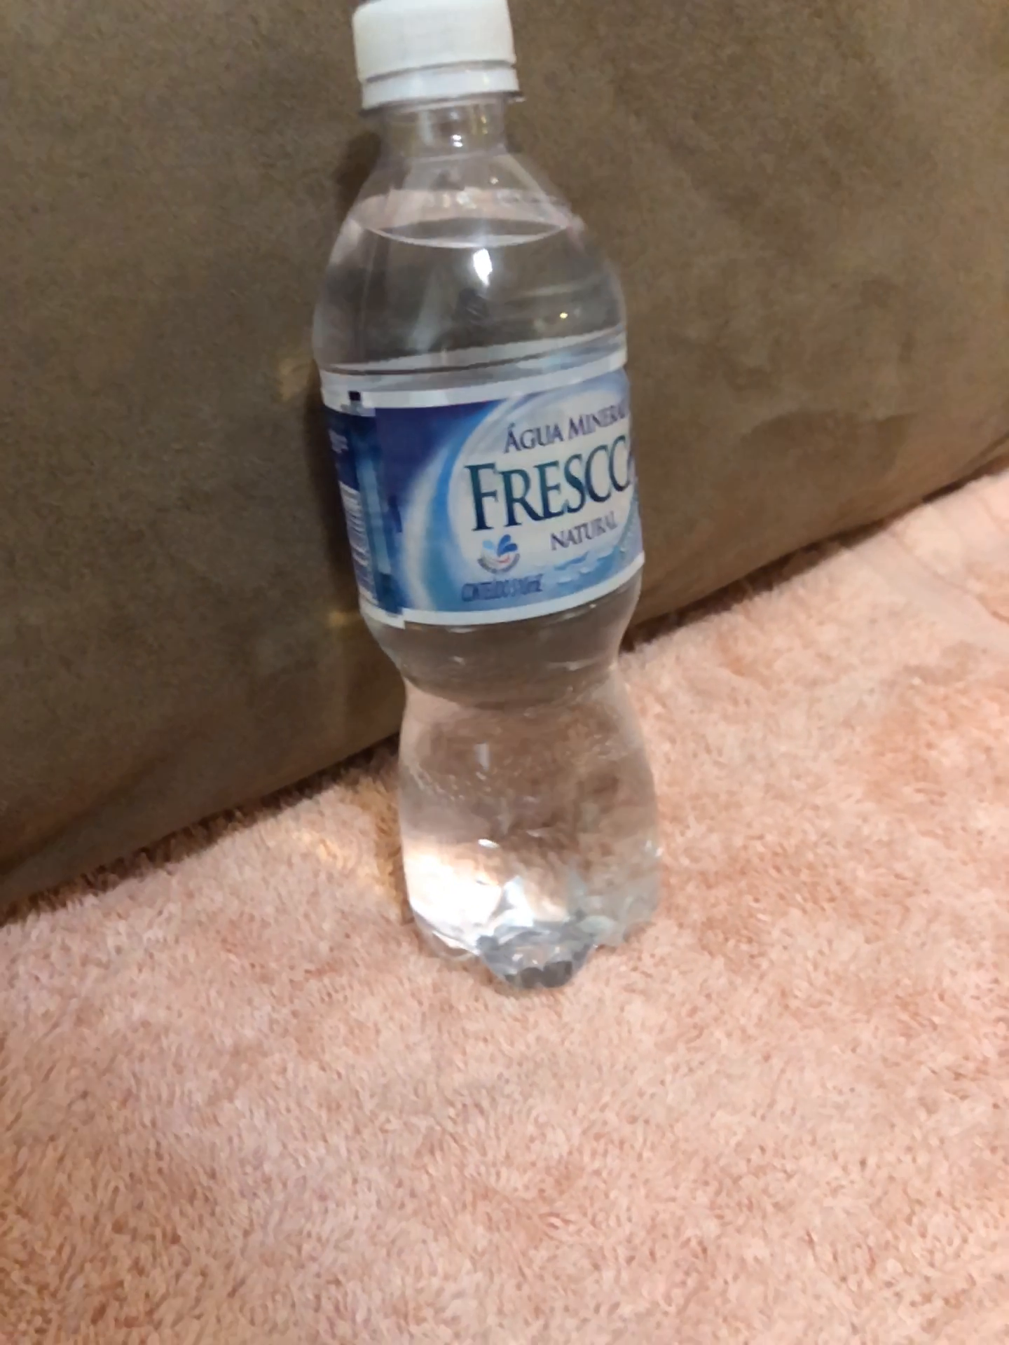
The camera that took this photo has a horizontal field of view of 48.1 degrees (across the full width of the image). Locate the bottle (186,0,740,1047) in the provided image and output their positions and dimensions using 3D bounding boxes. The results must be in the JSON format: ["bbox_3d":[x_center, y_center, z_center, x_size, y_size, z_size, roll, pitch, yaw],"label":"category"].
[{"bbox_3d":[-0.002,-0.032,0.263,0.070,0.209,0.080,-21,29,-27],"label":"bottle"}]
